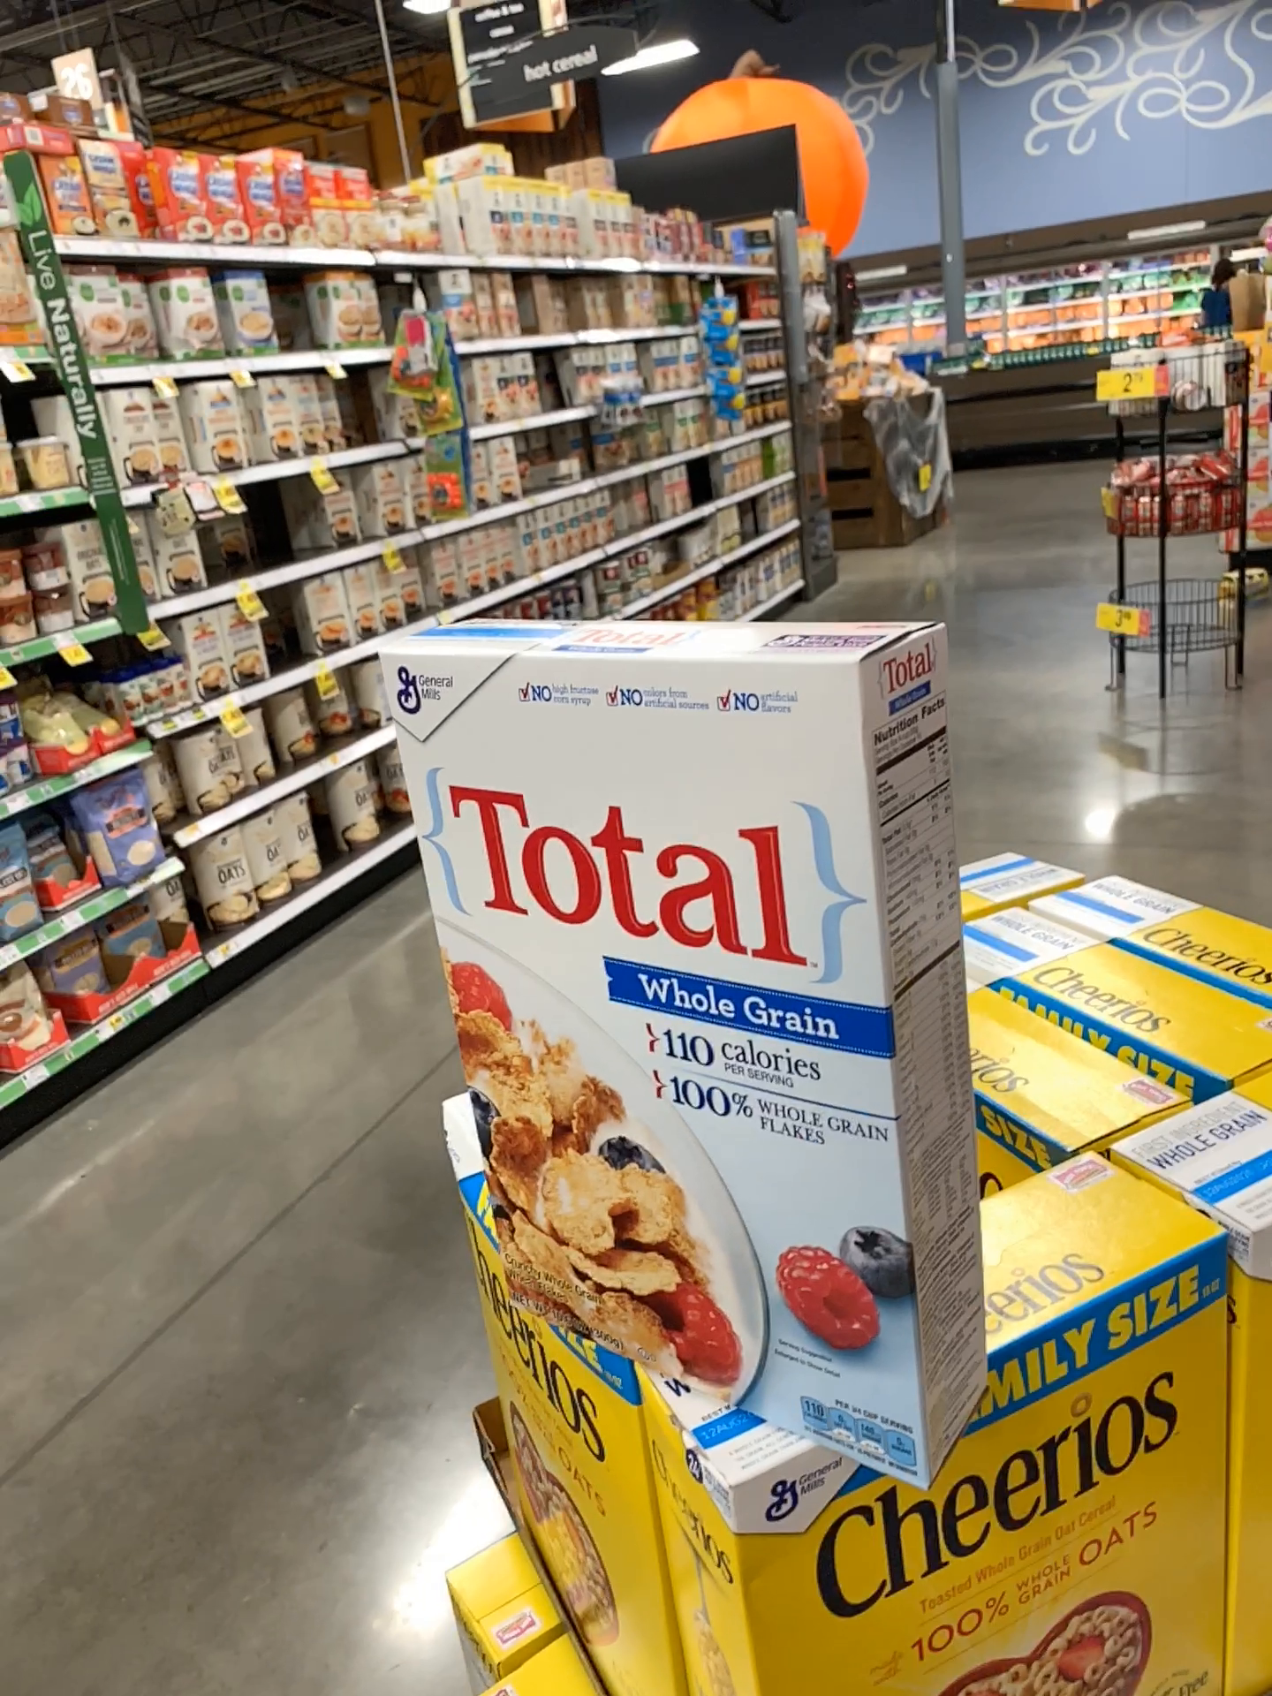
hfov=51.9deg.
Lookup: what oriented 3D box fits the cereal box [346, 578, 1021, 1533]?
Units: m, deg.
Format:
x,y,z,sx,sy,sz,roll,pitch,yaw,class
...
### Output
x,y,z,sx,sy,sz,roll,pitch,yaw,class
0.017,0.063,0.458,0.210,0.299,0.050,7,25,39,cereal box
